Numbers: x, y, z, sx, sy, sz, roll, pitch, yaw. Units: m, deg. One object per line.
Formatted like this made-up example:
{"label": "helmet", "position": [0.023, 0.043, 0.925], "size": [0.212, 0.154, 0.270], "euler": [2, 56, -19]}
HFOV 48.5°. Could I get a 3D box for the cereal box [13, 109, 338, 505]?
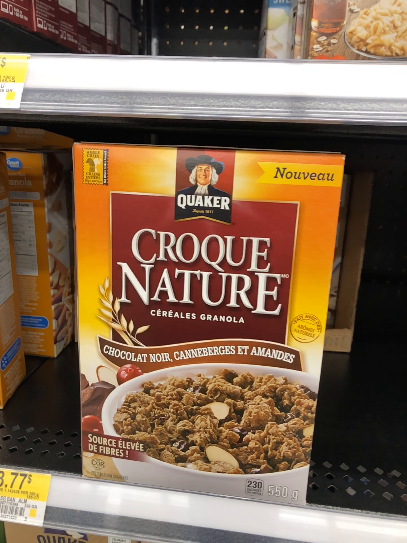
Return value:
{"label": "cereal box", "position": [-0.019, 0.022, 0.287], "size": [0.170, 0.229, 0.050], "euler": [4, 16, 8]}
